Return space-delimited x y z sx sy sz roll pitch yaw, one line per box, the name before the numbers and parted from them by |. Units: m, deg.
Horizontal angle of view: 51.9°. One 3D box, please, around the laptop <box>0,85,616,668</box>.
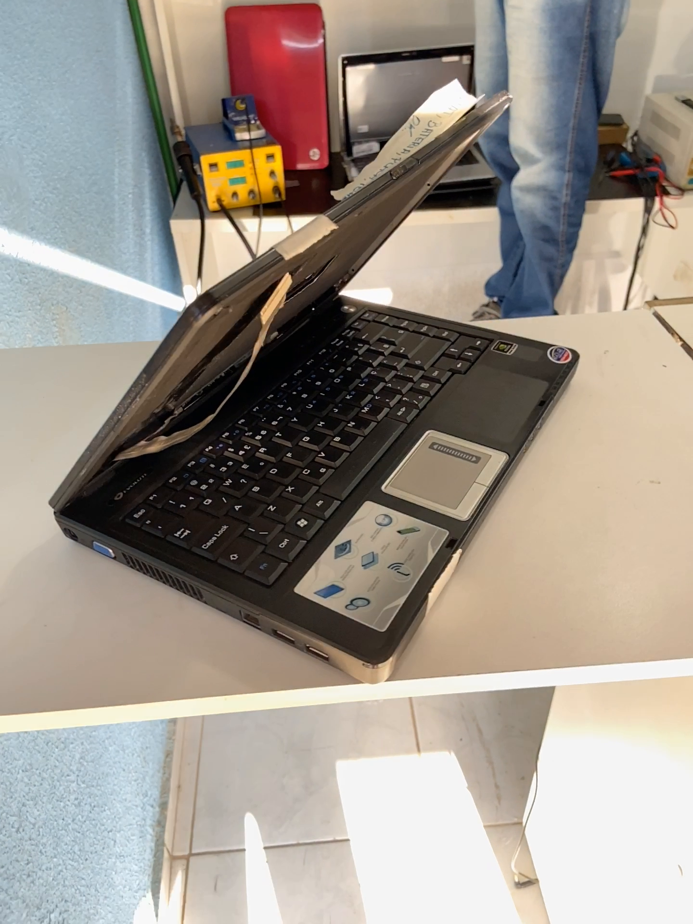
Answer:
laptop | -0.004 -0.094 0.443 0.224 0.175 0.330 18 44 25
